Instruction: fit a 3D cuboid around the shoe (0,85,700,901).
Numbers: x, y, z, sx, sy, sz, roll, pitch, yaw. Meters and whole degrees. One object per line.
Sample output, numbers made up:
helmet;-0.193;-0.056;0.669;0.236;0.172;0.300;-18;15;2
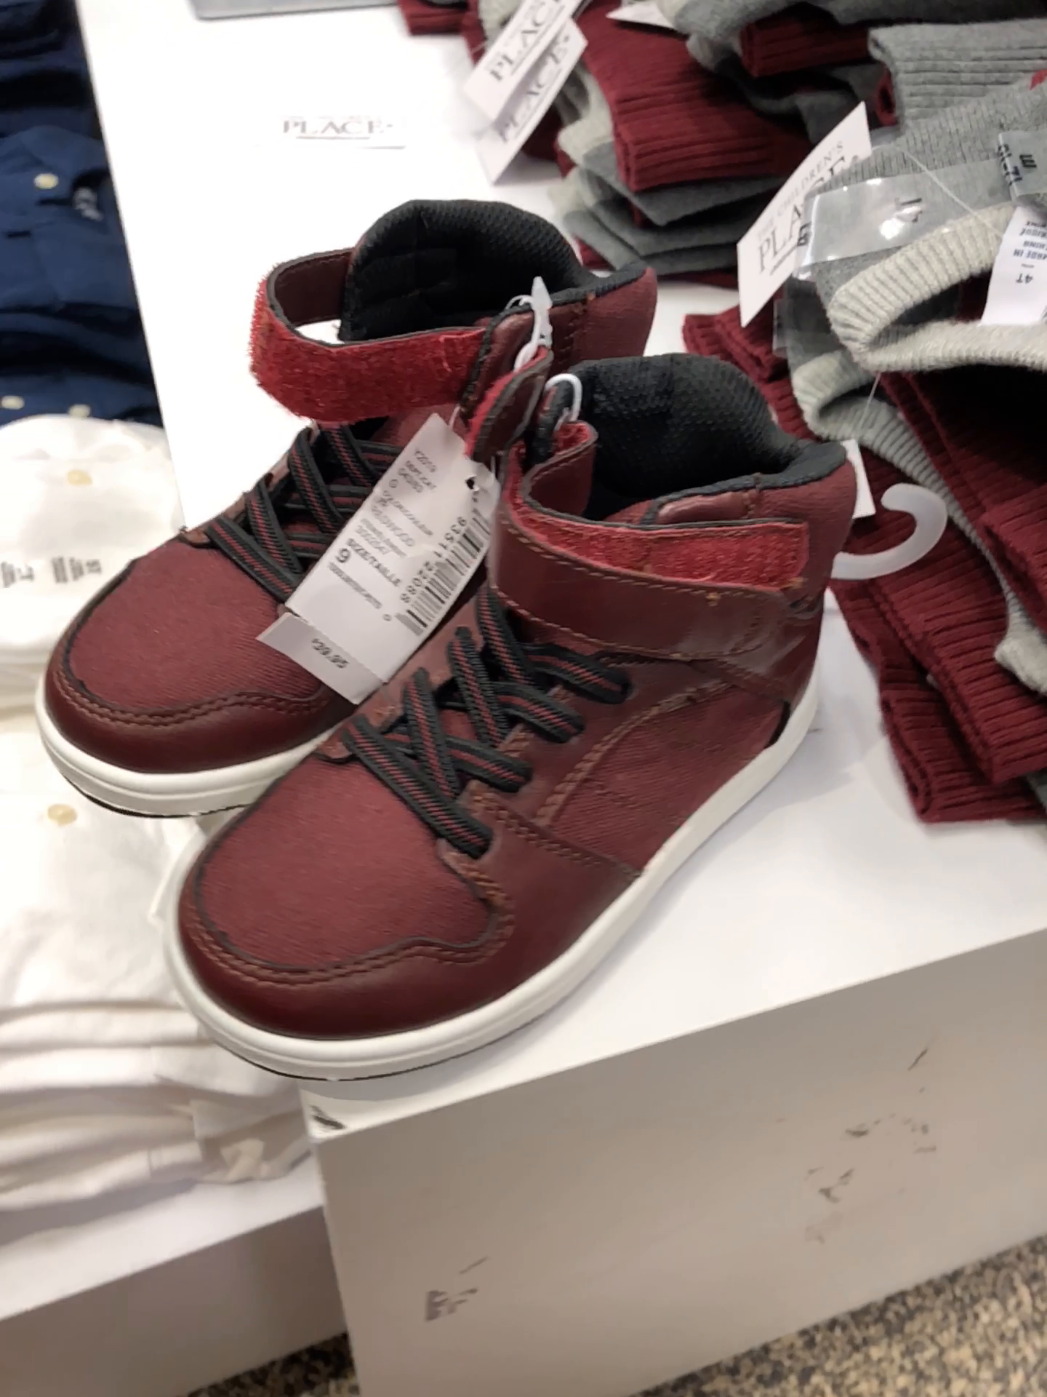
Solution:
shoe;-0.048;-0.050;0.261;0.160;0.100;0.070;-36;63;-29

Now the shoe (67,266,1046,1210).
shoe;0.015;0.000;0.253;0.180;0.100;0.080;-36;63;-29
